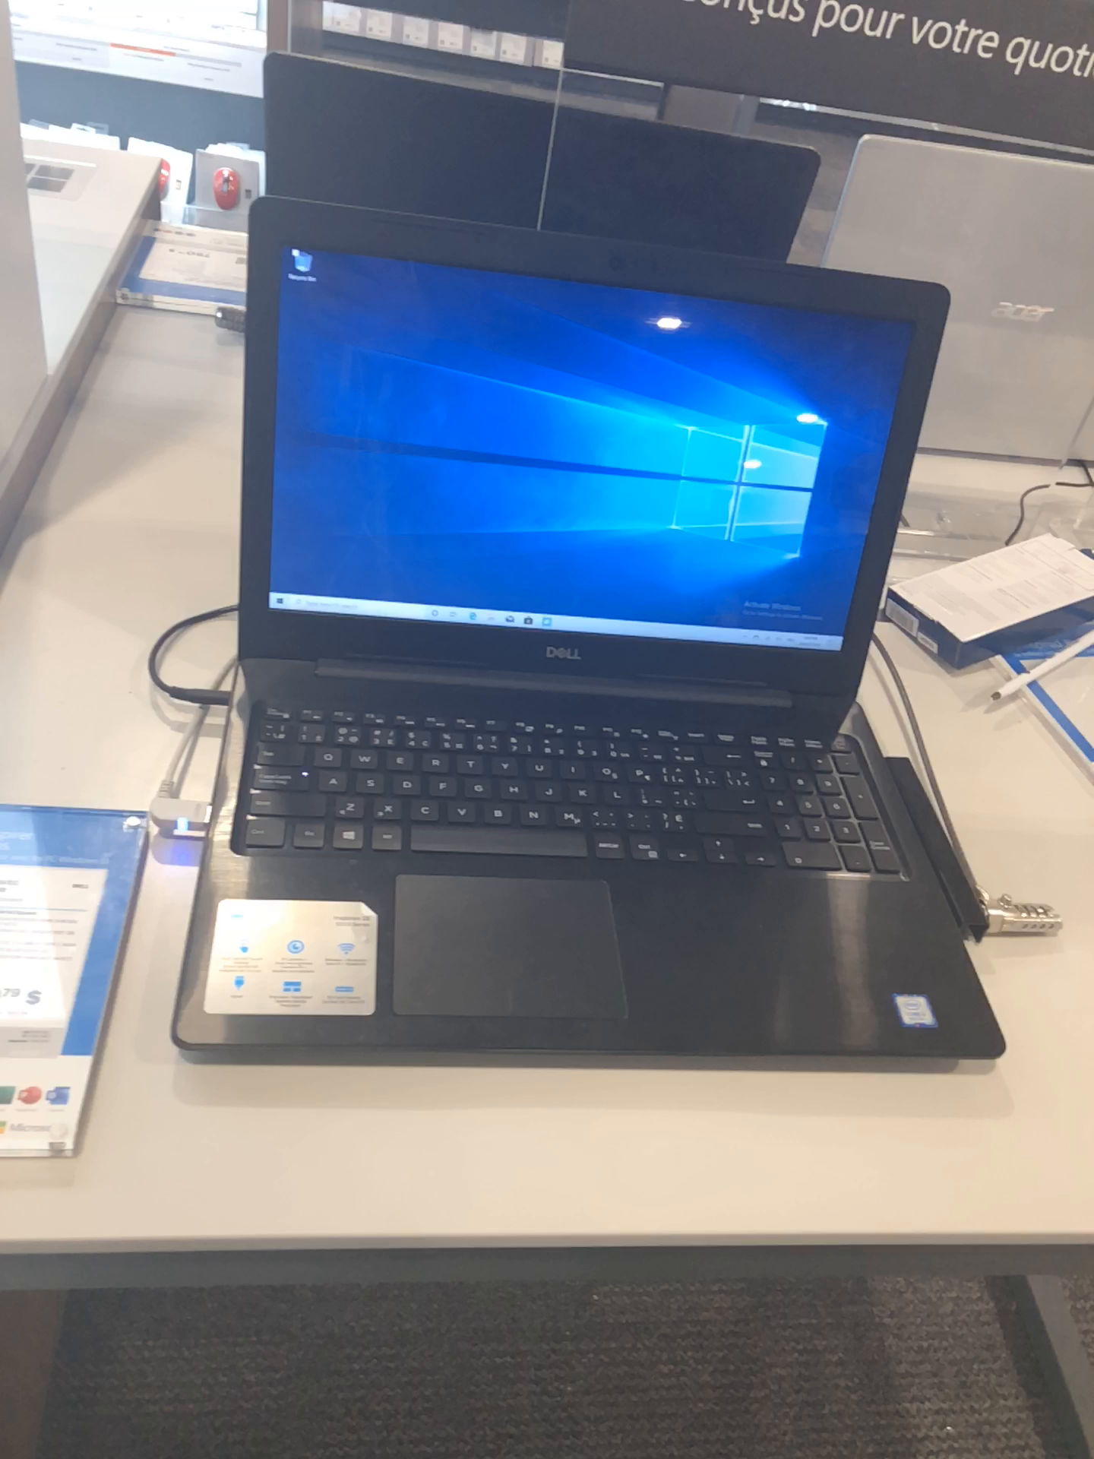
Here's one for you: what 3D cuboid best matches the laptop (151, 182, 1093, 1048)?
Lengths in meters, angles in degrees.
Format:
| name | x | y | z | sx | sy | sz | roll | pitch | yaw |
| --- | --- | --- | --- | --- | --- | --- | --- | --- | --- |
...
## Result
| name | x | y | z | sx | sy | sz | roll | pitch | yaw |
| --- | --- | --- | --- | --- | --- | --- | --- | --- | --- |
| laptop | 0.030 | -0.063 | 0.580 | 0.363 | 0.224 | 0.337 | 3 | 43 | -9 |
